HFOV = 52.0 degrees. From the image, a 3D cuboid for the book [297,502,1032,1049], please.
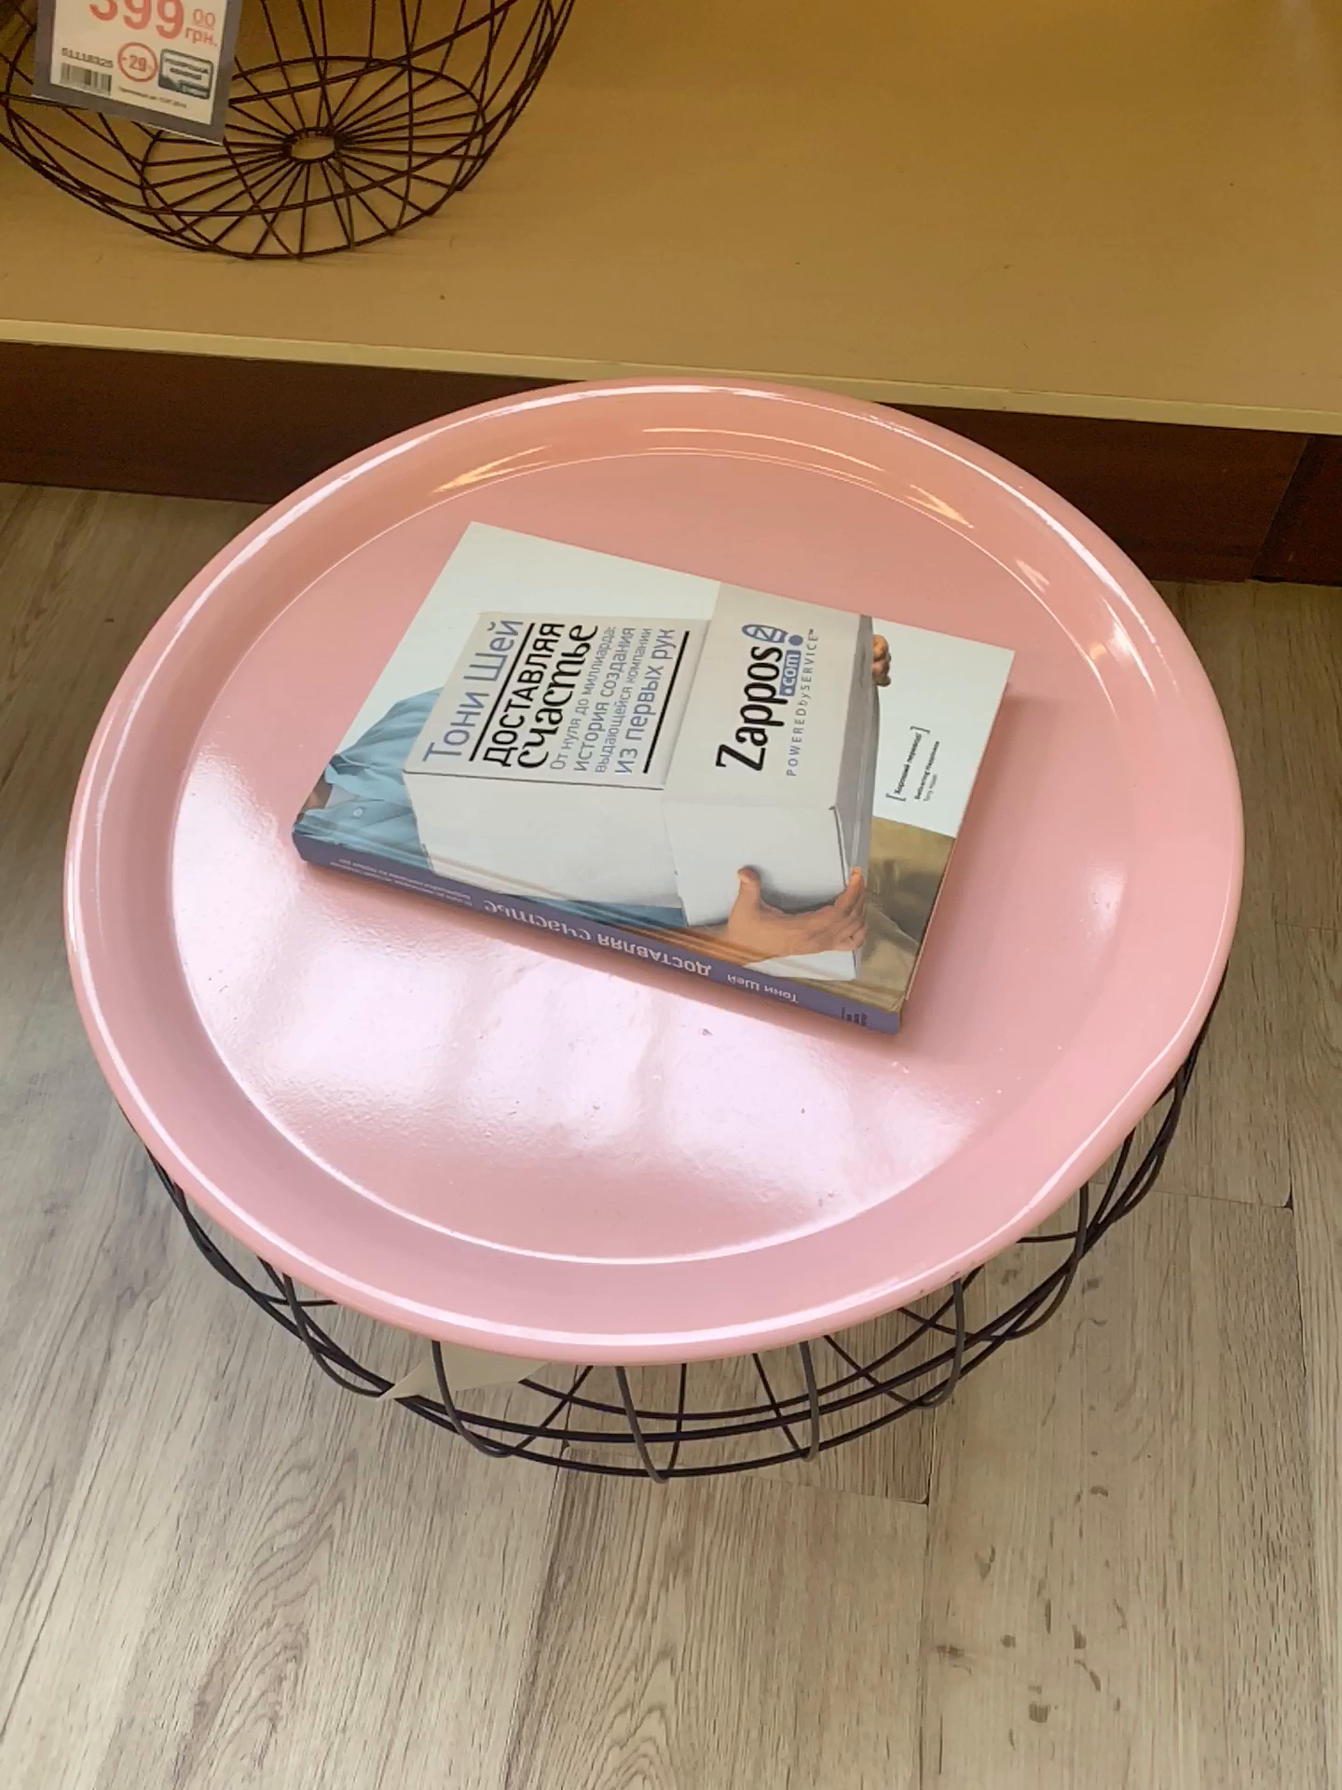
[{"bbox_3d":[0.002,-0.056,0.531,0.232,0.030,0.170,17,62,12],"label":"book"}]
